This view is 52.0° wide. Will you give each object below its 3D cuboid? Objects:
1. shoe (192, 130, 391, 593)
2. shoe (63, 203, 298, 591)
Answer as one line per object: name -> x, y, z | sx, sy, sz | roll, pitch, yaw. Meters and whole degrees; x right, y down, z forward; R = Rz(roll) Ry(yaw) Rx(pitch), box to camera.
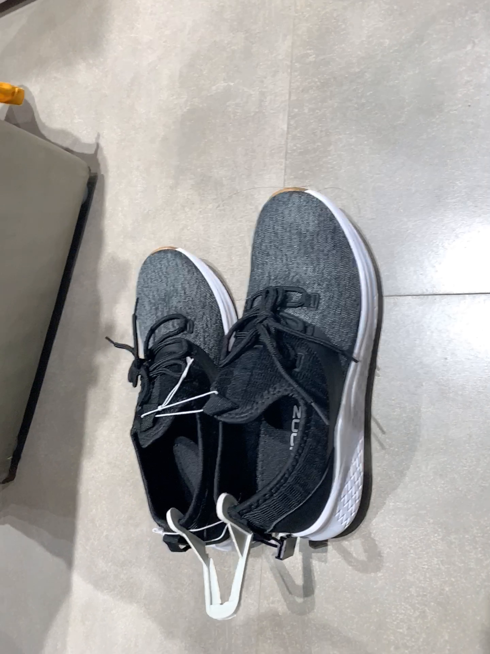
shoe -> 0.036, 0.021, 0.371 | 0.108, 0.096, 0.278 | -4, 82, 33
shoe -> -0.061, 0.054, 0.428 | 0.107, 0.096, 0.278 | -24, 71, 29
